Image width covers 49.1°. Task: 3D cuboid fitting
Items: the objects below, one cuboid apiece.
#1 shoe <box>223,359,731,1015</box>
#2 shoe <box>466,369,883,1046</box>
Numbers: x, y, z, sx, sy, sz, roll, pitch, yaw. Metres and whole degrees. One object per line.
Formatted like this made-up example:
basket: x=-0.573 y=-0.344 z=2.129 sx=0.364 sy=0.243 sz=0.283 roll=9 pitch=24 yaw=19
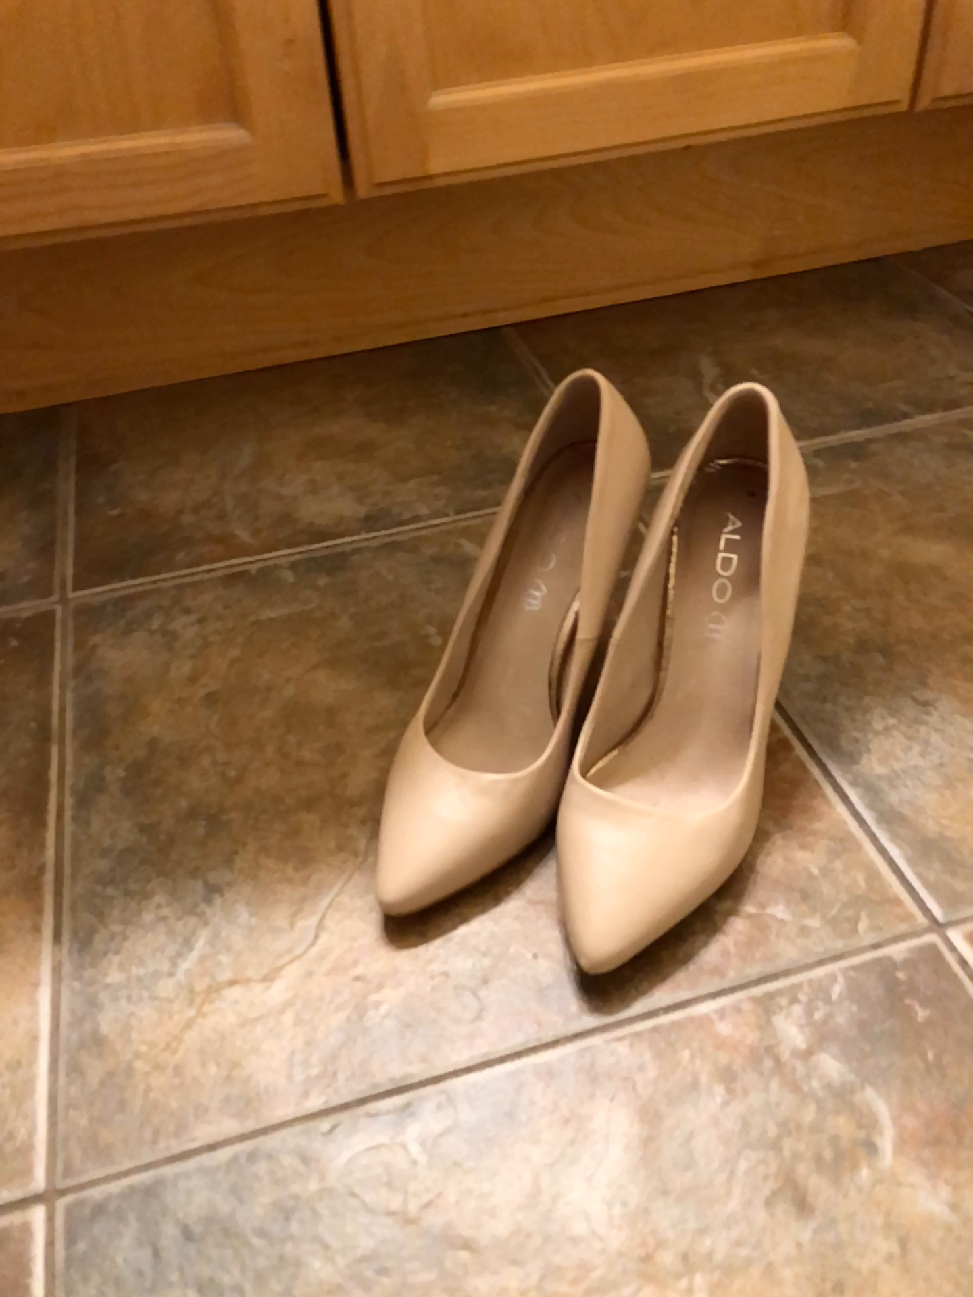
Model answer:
shoe: x=0.014 y=0.003 z=0.445 sx=0.080 sy=0.149 sz=0.231 roll=20 pitch=46 yaw=25
shoe: x=0.082 y=0.007 z=0.413 sx=0.080 sy=0.129 sz=0.231 roll=14 pitch=44 yaw=20
